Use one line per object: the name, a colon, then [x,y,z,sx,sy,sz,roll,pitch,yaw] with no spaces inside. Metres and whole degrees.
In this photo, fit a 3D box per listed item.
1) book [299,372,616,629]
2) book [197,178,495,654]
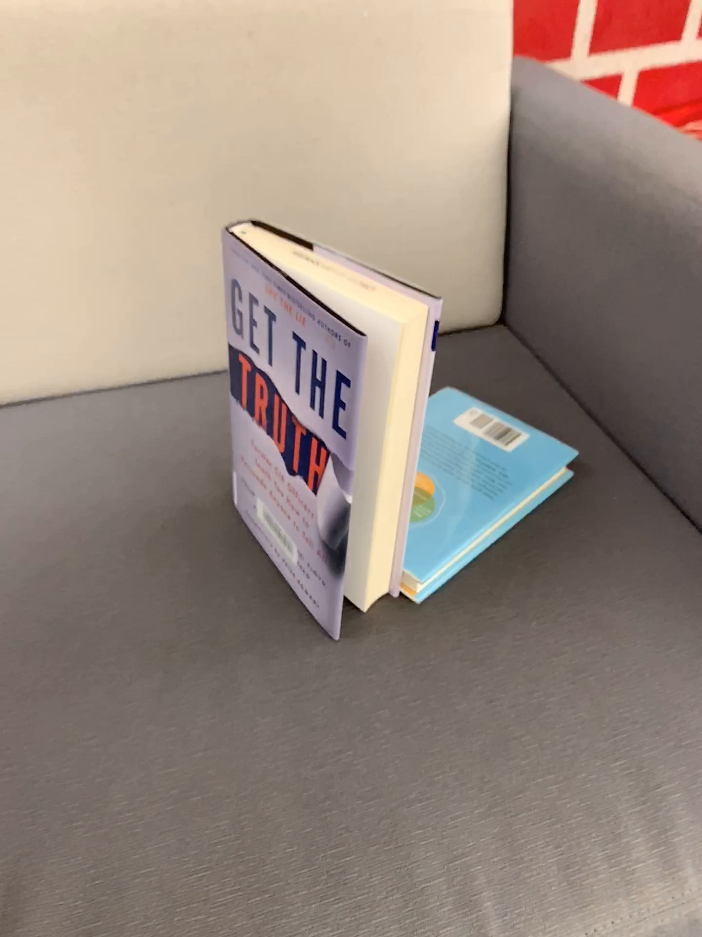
book: [0.083,0.011,0.556,0.200,0.030,0.140,-36,52,-29]
book: [-0.015,-0.030,0.431,0.070,0.219,0.161,-22,45,-28]
